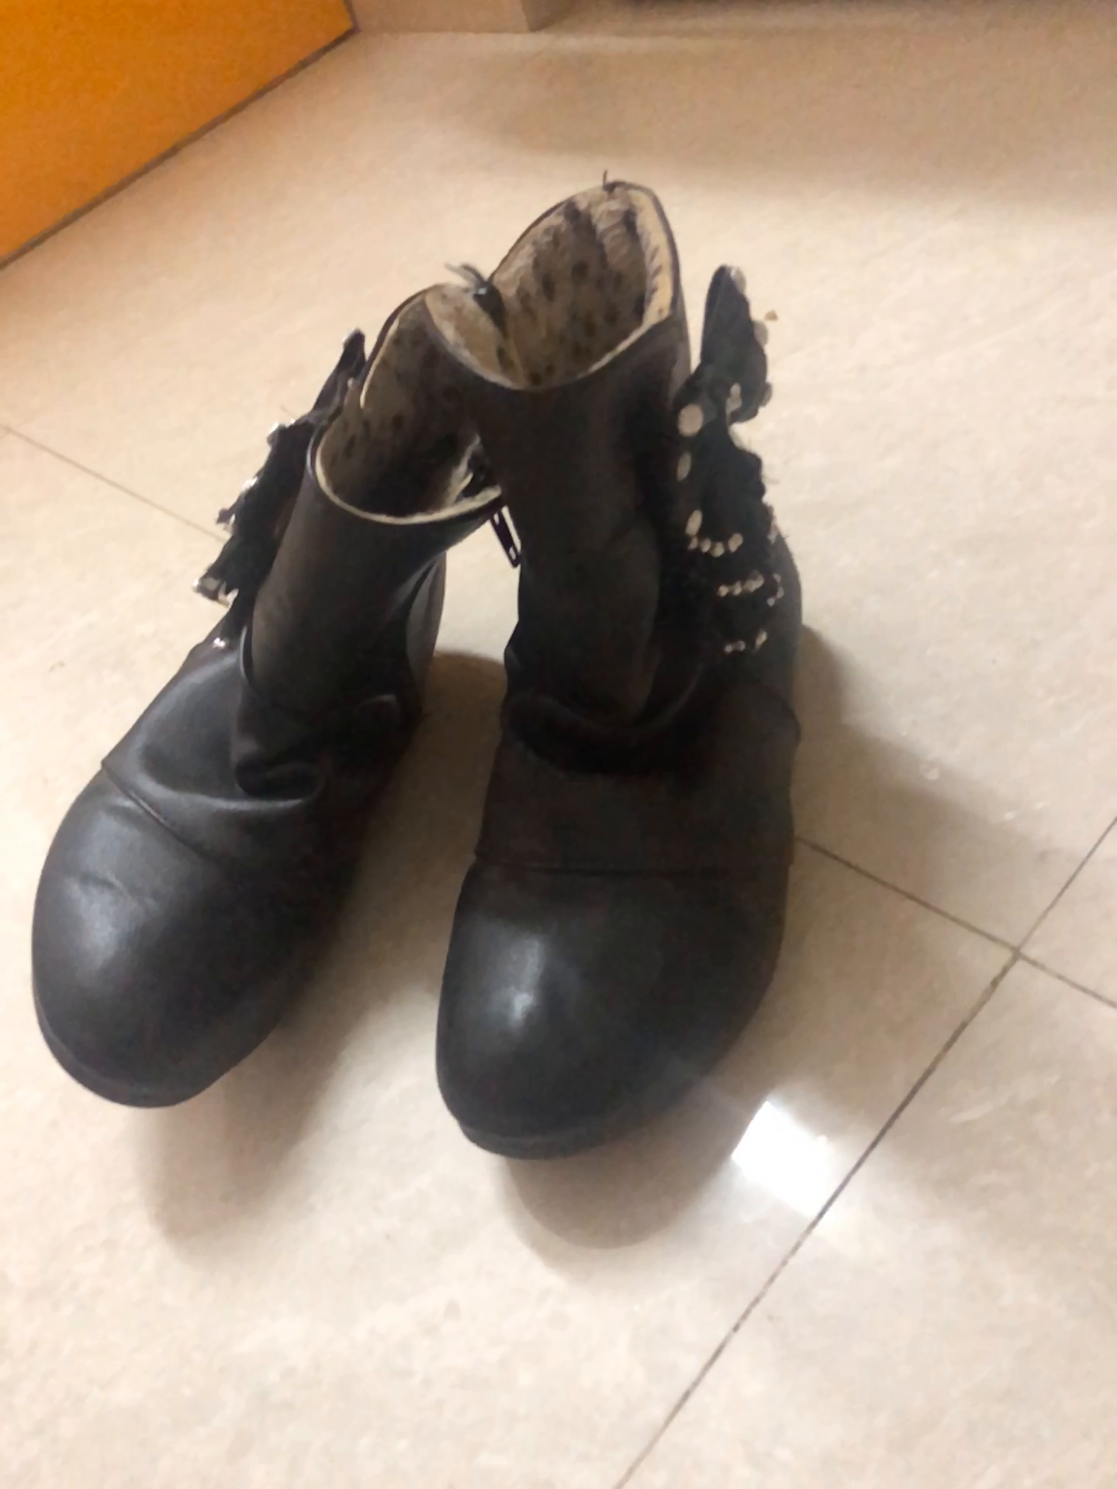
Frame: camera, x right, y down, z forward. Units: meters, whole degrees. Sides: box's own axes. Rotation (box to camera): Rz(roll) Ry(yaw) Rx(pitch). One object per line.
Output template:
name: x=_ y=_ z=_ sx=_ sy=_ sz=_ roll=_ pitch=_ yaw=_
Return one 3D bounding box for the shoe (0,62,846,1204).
shoe: x=0.001 y=-0.033 z=0.293 sx=0.090 sy=0.139 sz=0.221 roll=-1 pitch=49 yaw=23

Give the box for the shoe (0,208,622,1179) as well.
shoe: x=-0.071 y=-0.014 z=0.330 sx=0.090 sy=0.139 sz=0.201 roll=23 pitch=54 yaw=-3
